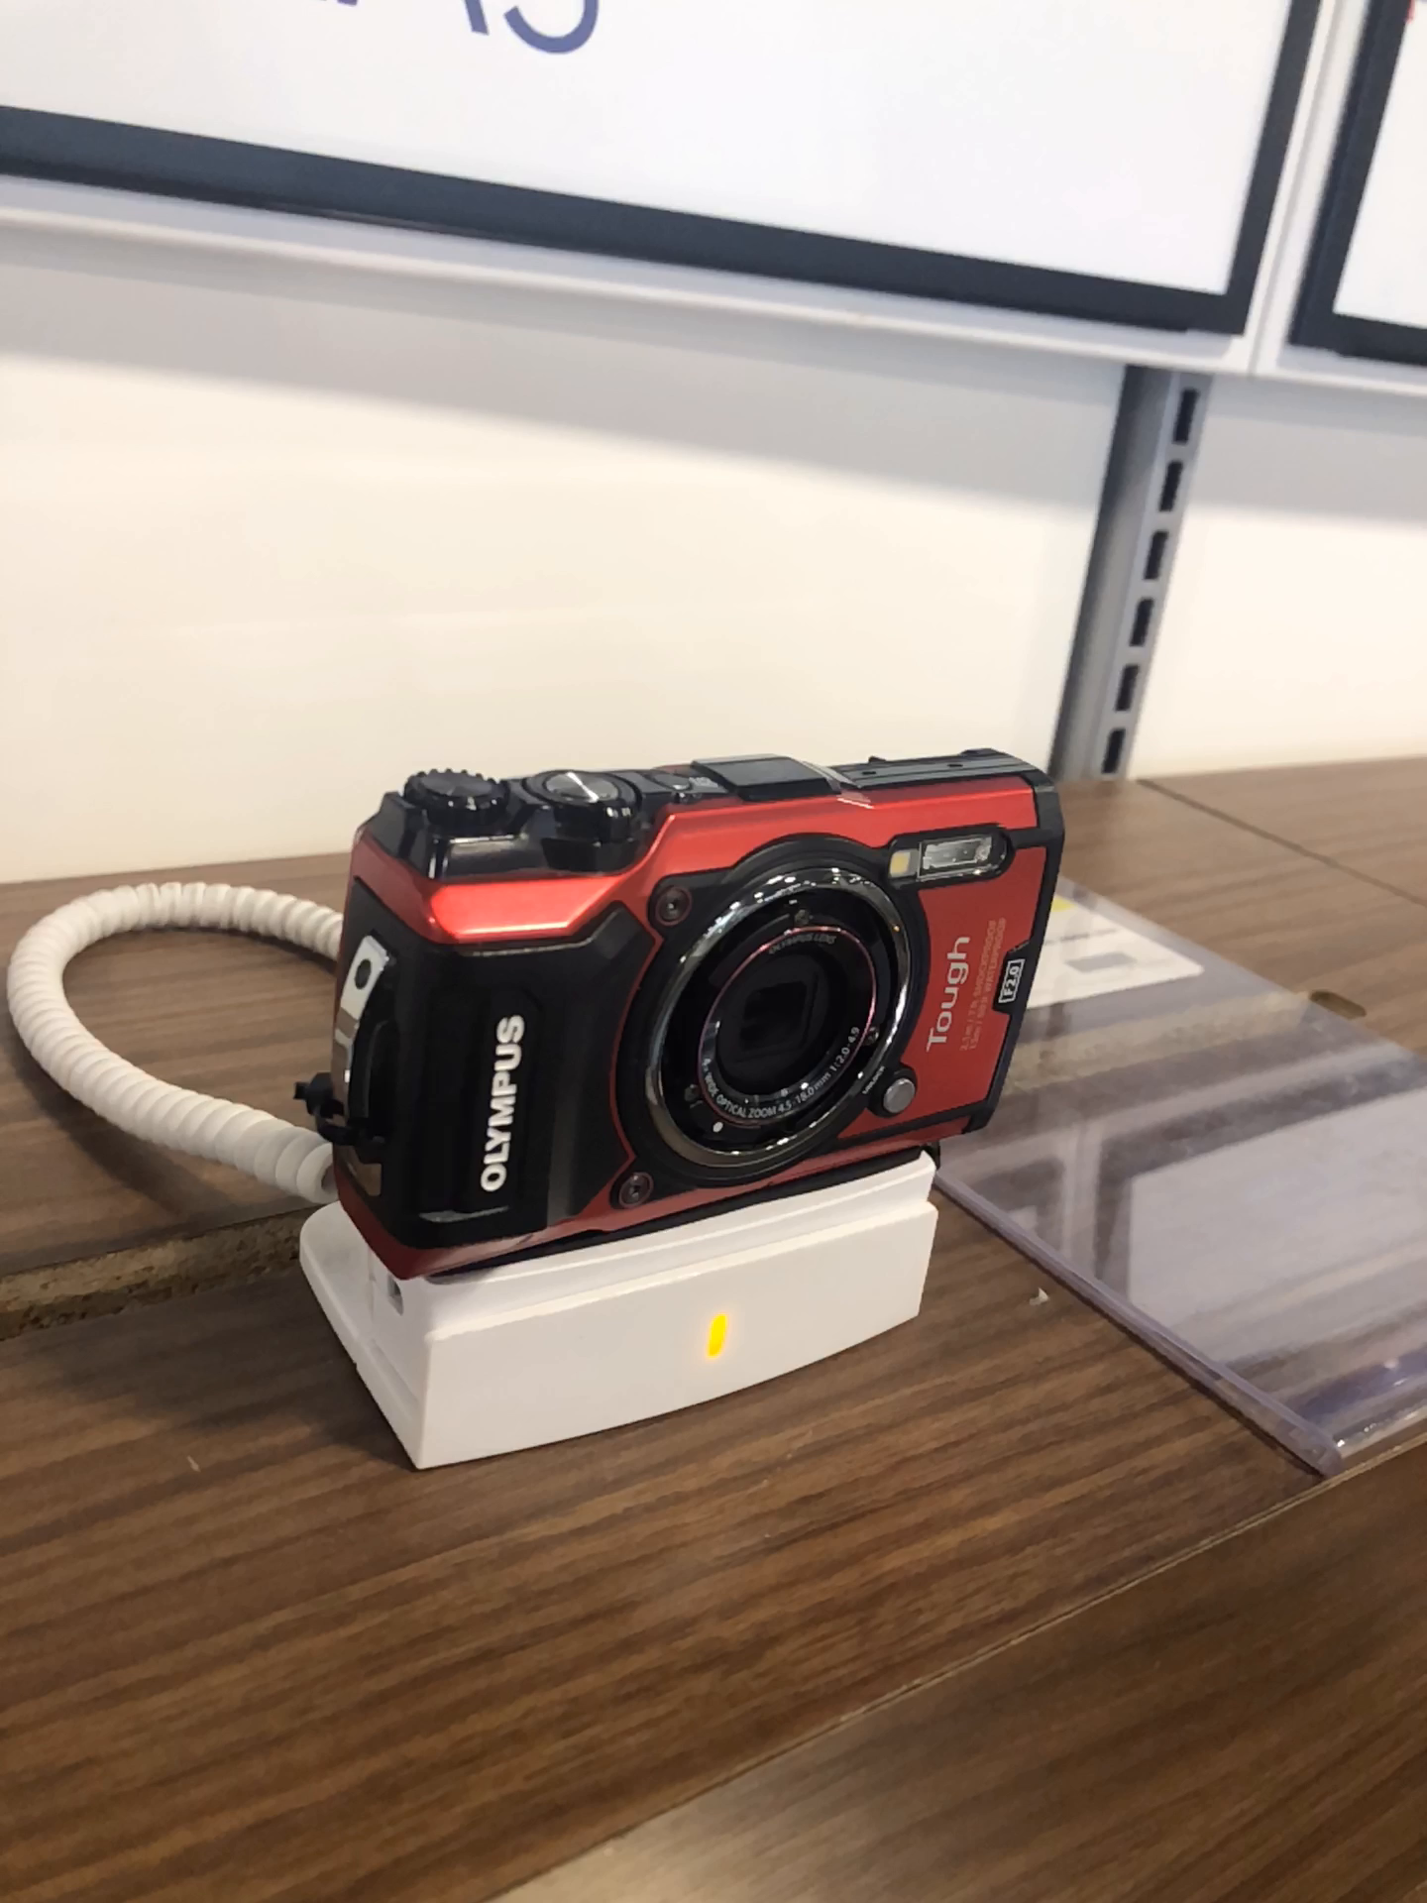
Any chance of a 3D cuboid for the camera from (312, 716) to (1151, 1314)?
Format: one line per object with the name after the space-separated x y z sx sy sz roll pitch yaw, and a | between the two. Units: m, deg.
0.005 0.003 0.228 0.117 0.064 0.030 -8 26 -33 | camera
